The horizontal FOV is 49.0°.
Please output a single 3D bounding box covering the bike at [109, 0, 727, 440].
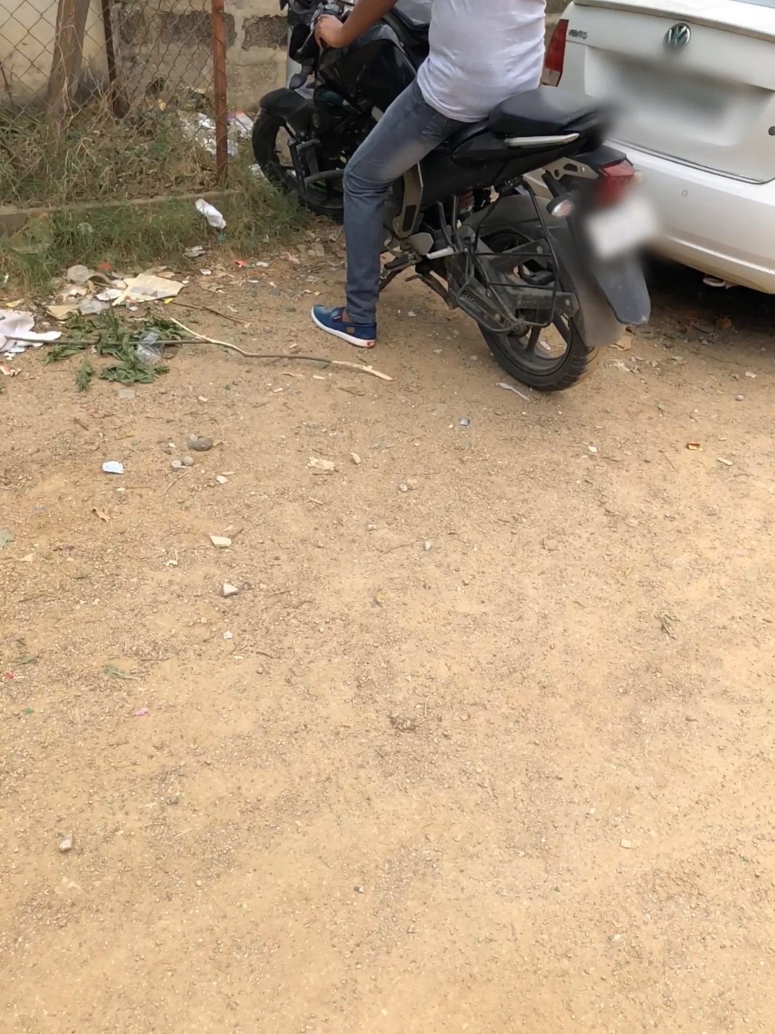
[{"bbox_3d":[-0.062,-1.198,2.390,0.529,1.094,1.620,-25,51,-37],"label":"bike"}]
